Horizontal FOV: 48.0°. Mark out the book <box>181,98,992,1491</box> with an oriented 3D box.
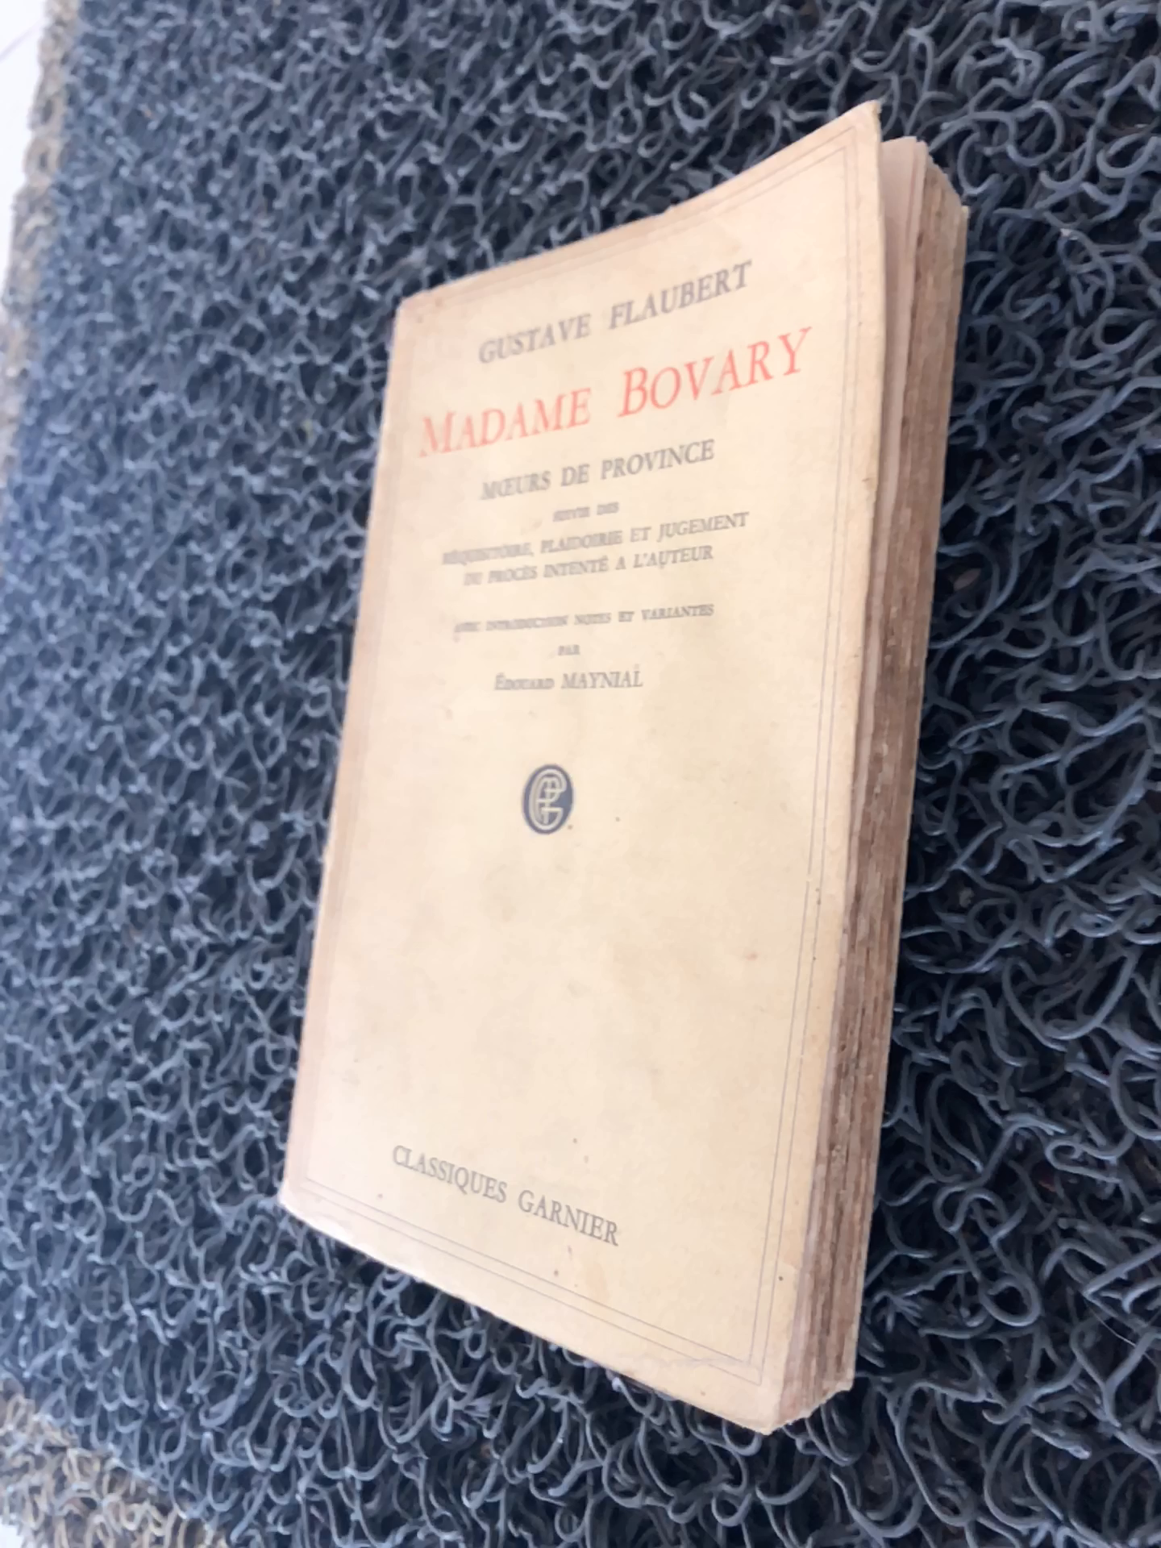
[{"bbox_3d":[-0.005,-0.001,0.221,0.124,0.035,0.180,2,83,43],"label":"book"}]
